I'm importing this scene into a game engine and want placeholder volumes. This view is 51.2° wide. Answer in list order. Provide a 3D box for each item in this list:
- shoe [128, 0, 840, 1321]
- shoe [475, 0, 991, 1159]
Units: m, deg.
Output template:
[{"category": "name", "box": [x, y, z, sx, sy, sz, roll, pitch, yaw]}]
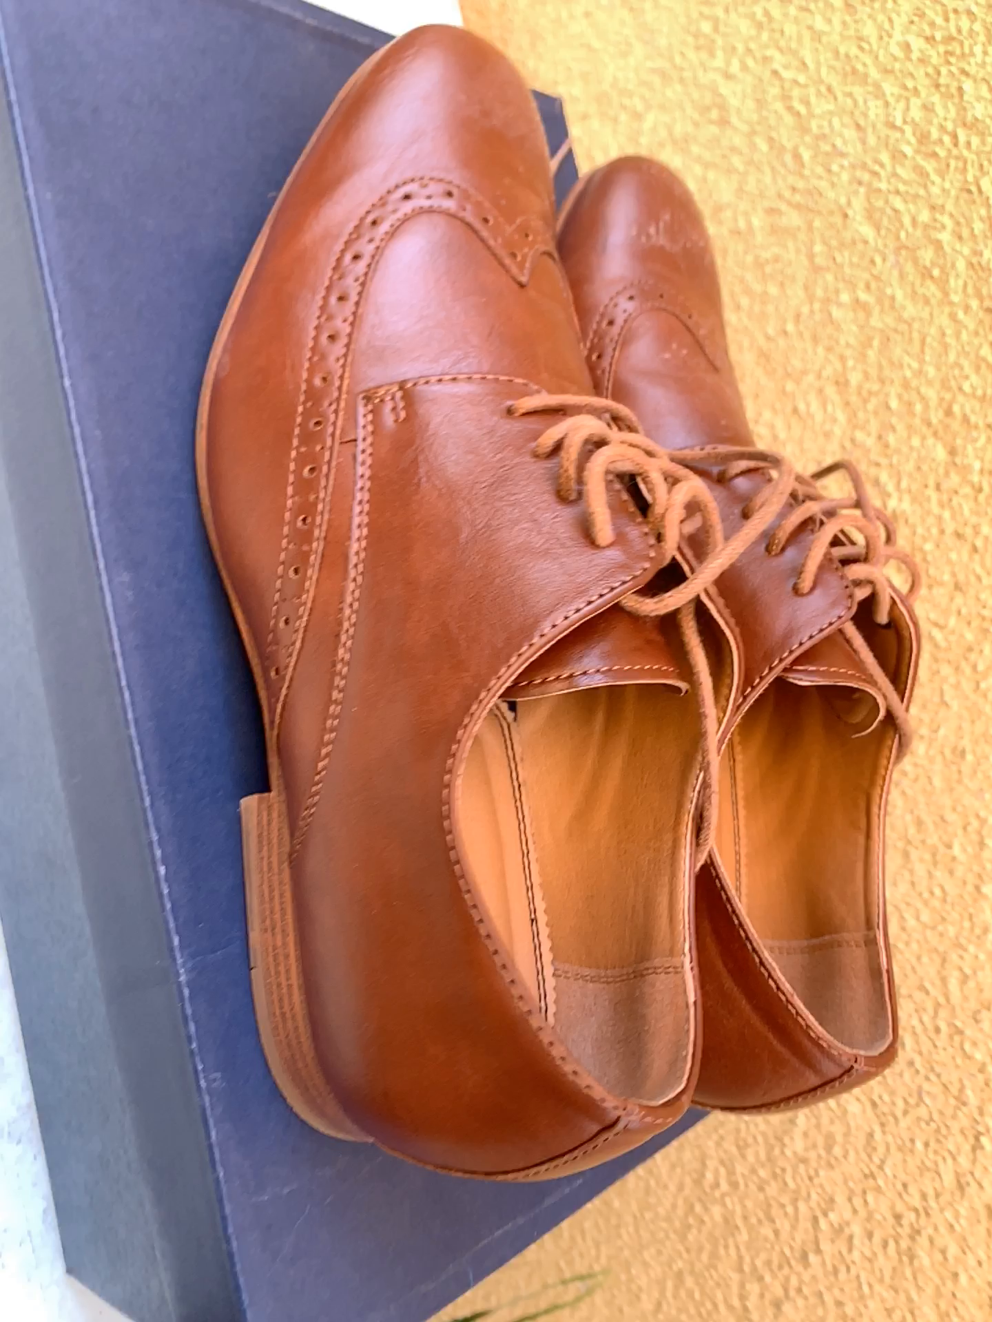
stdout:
[{"category": "shoe", "box": [-0.006, -0.037, 0.247, 0.104, 0.099, 0.301, 11, 71, -41]}, {"category": "shoe", "box": [0.070, -0.029, 0.315, 0.110, 0.099, 0.301, 11, 71, -41]}]
